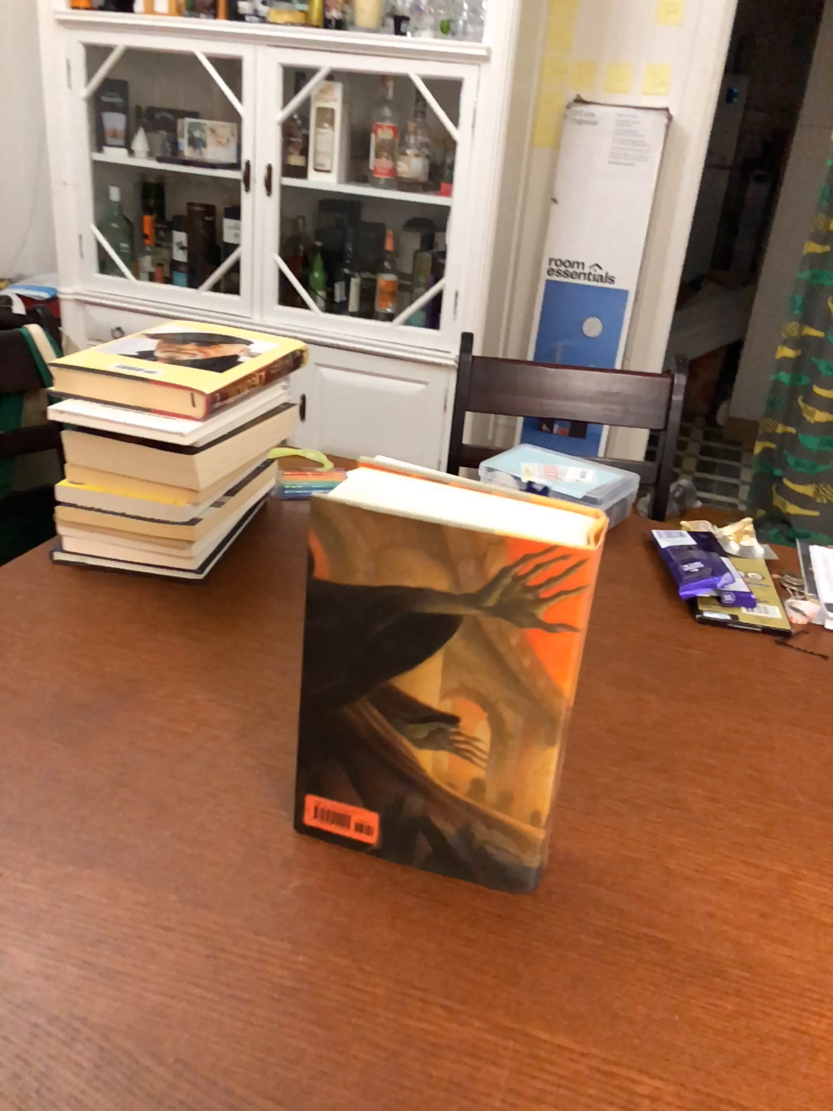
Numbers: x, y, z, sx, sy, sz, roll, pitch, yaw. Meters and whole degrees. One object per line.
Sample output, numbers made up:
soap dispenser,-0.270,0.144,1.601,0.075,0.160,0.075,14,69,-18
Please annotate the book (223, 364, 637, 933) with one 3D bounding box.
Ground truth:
book,-0.005,0.056,0.550,0.210,0.298,0.070,13,25,16
